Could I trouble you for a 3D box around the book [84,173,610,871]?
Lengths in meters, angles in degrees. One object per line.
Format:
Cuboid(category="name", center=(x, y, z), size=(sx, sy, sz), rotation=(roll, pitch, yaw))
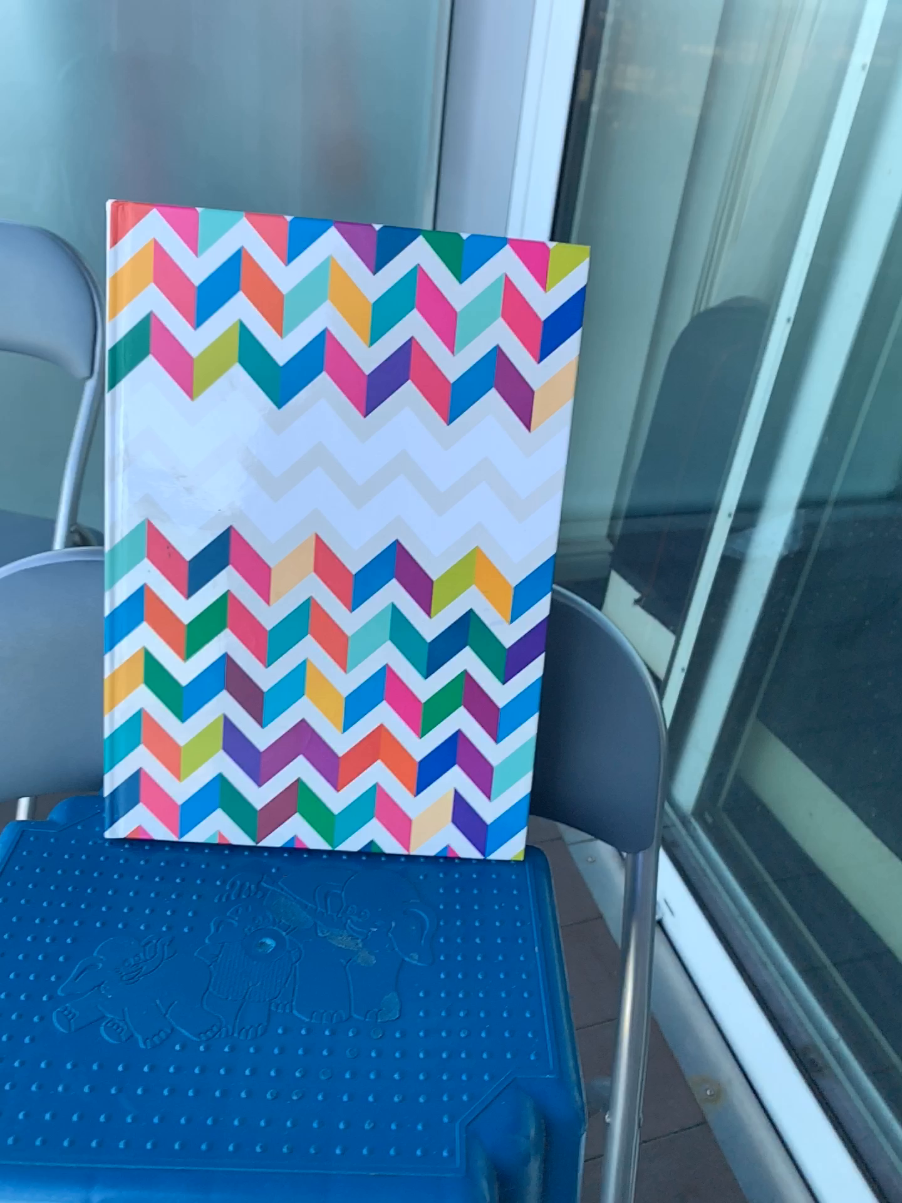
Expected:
Cuboid(category="book", center=(-0.053, -0.026, 0.421), size=(0.211, 0.290, 0.030), rotation=(5, 11, -3))
